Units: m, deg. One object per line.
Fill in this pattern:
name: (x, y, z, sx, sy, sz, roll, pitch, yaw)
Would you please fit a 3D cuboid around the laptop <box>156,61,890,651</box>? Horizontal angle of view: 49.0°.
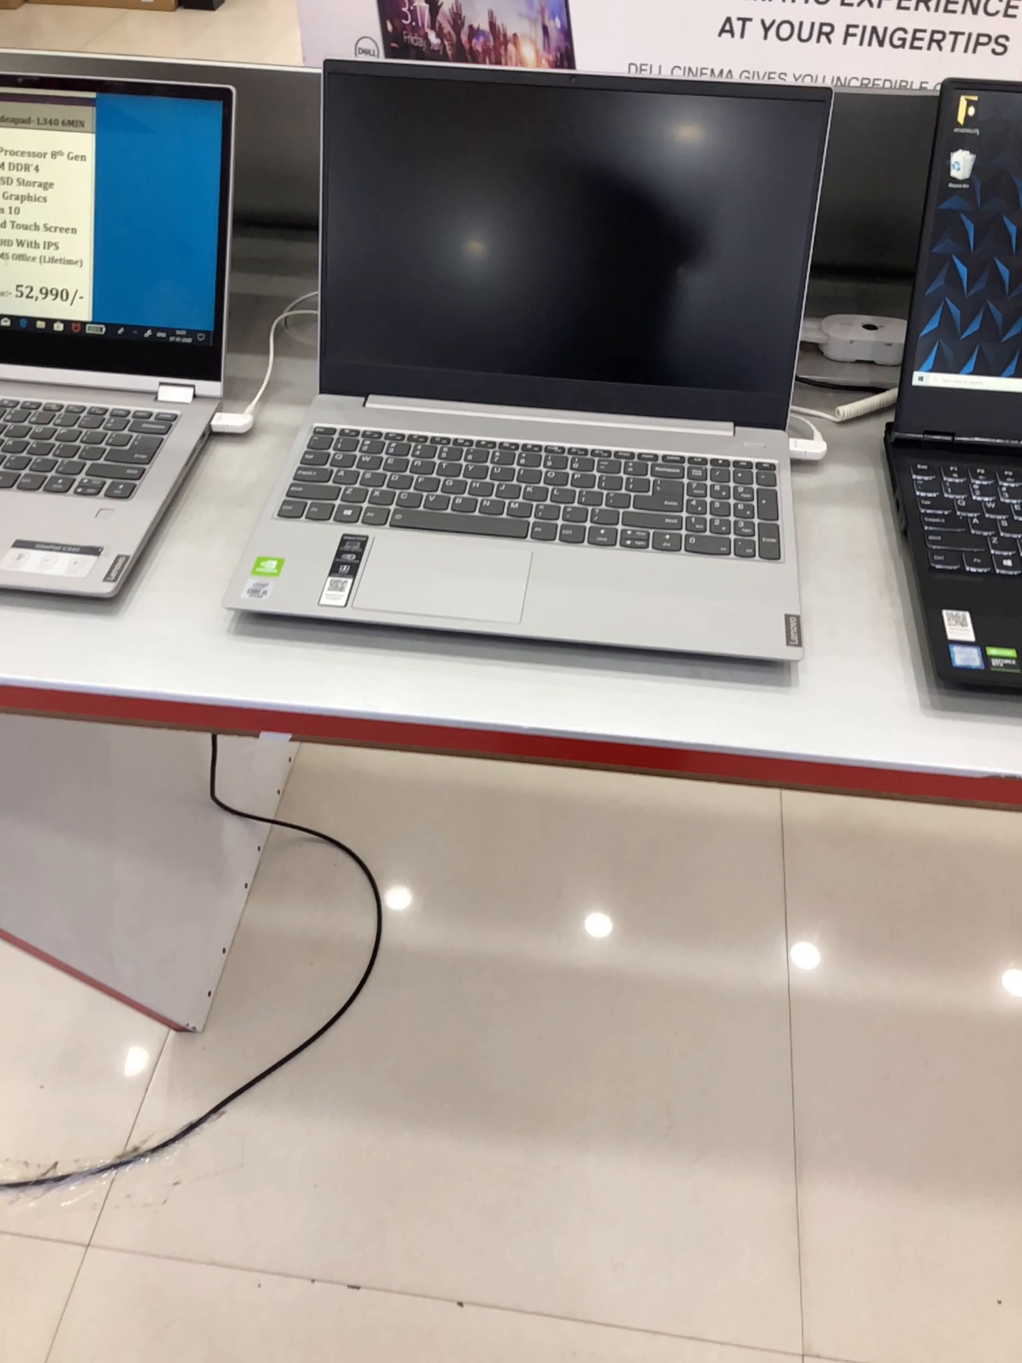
laptop: (0.021, -0.222, 0.710, 0.341, 0.196, 0.346, 5, 46, 4)
